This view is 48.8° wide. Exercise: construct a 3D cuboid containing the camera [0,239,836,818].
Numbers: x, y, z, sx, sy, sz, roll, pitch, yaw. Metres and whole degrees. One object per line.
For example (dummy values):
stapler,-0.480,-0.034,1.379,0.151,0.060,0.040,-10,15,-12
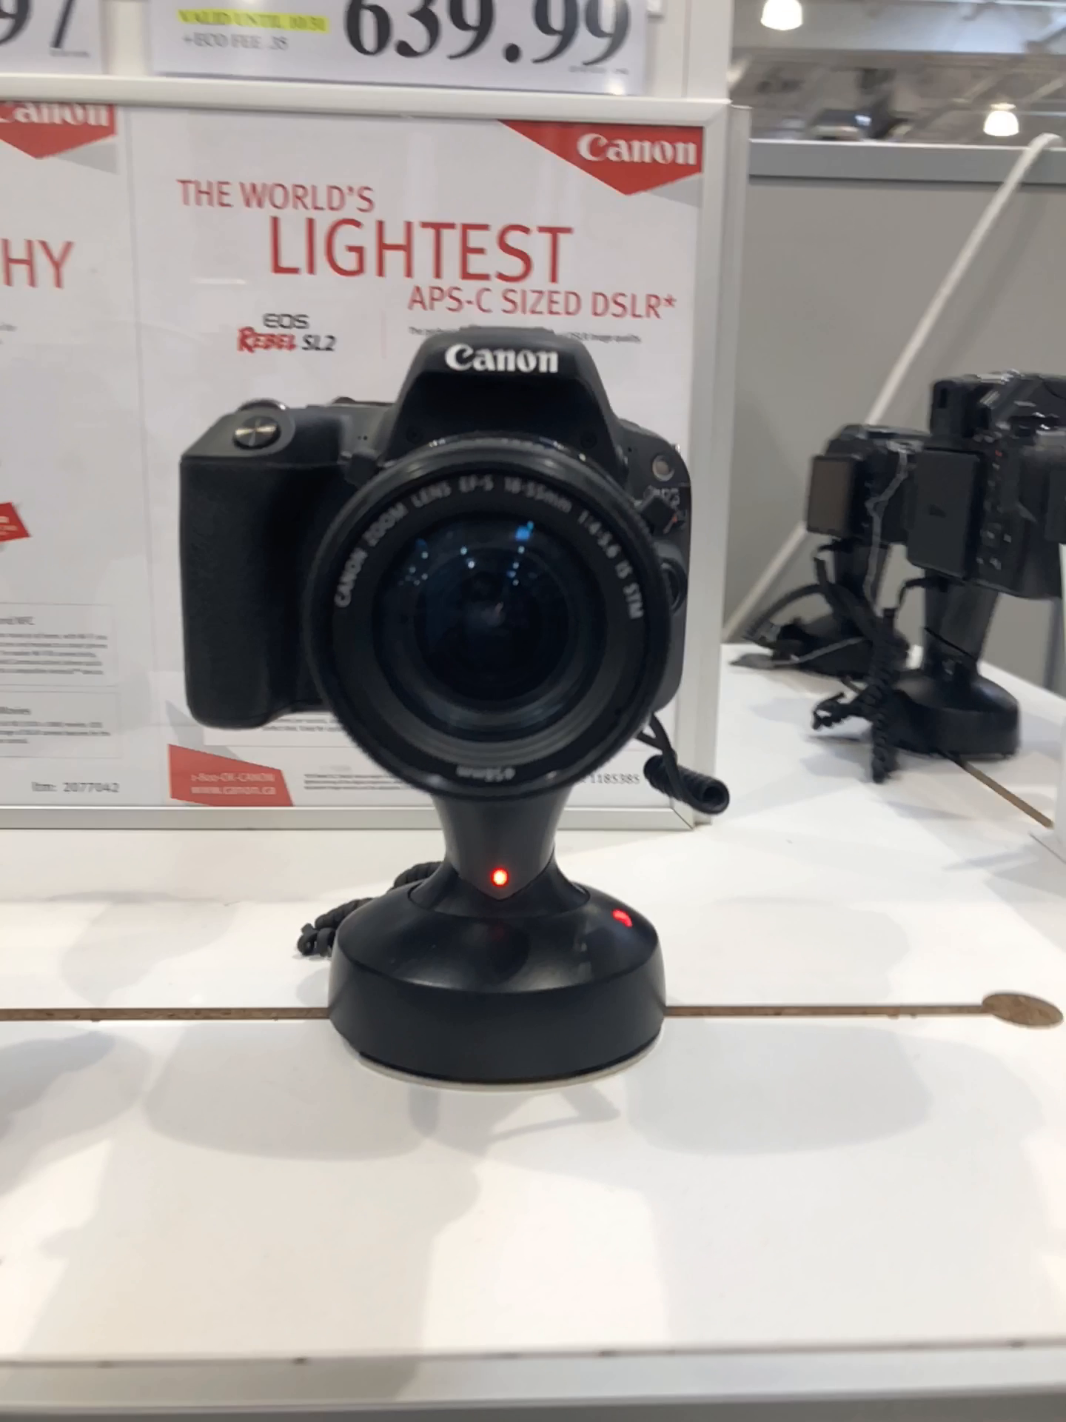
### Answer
camera,-0.021,-0.041,0.248,0.130,0.090,0.120,1,13,-2
